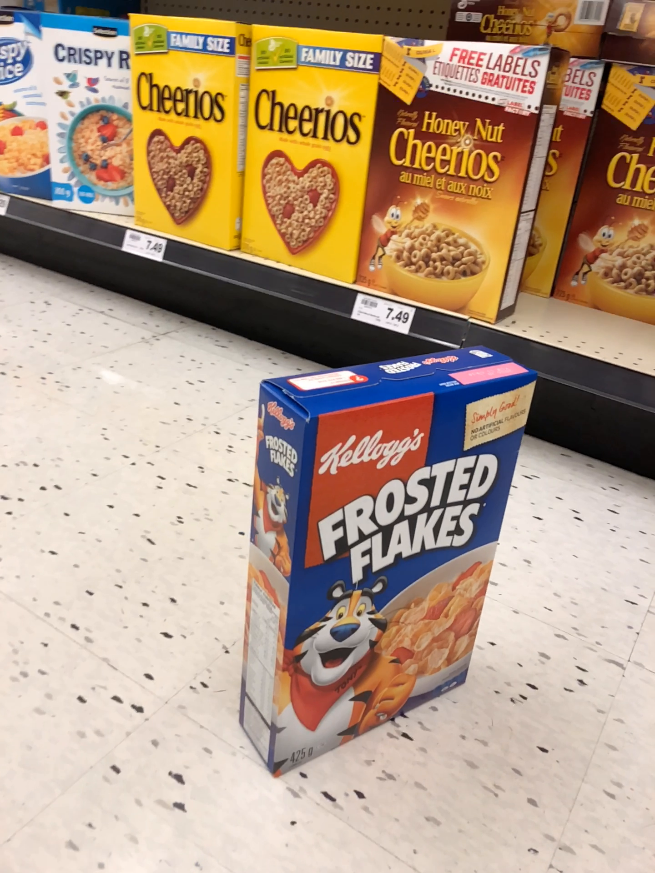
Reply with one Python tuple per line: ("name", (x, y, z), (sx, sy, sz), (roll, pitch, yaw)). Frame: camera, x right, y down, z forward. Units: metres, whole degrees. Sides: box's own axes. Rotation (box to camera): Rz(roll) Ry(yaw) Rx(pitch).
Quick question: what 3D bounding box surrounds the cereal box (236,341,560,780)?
("cereal box", (0.045, 0.088, 0.534), (0.200, 0.288, 0.070), (-12, 32, -33))
